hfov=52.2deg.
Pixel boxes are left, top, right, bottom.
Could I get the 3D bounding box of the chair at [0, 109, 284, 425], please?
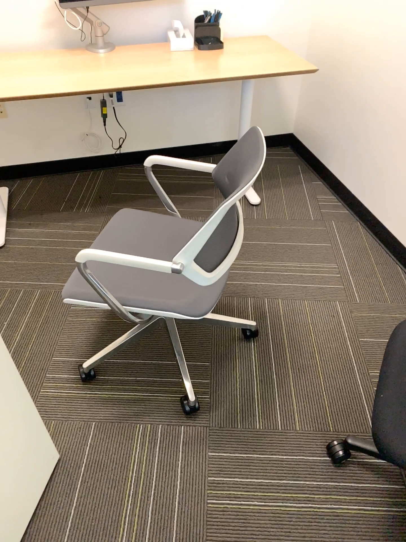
[{"bbox_3d":[-0.117,-0.012,1.208,0.590,0.666,0.553,6,43,5],"label":"chair"}]
